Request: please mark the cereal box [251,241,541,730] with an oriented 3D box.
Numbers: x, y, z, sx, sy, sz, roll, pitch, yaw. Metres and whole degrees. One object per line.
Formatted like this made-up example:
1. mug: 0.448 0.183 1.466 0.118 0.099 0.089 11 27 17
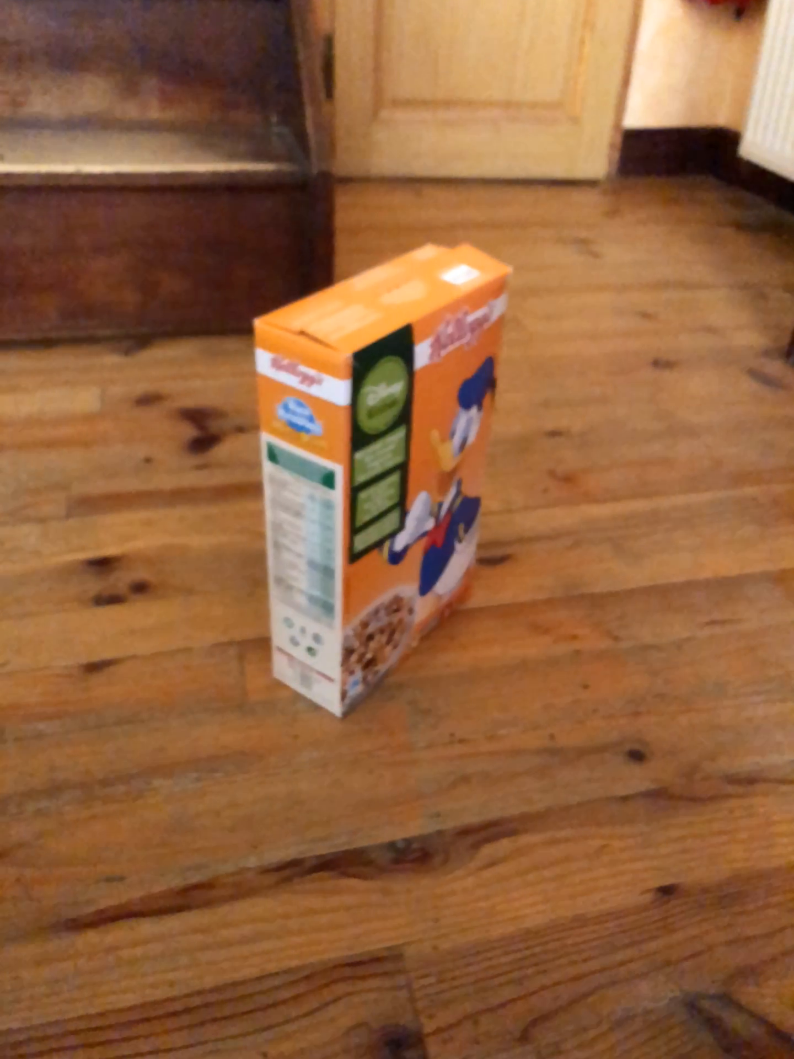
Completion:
1. cereal box: 0.001 -0.034 0.663 0.090 0.298 0.201 24 40 27
